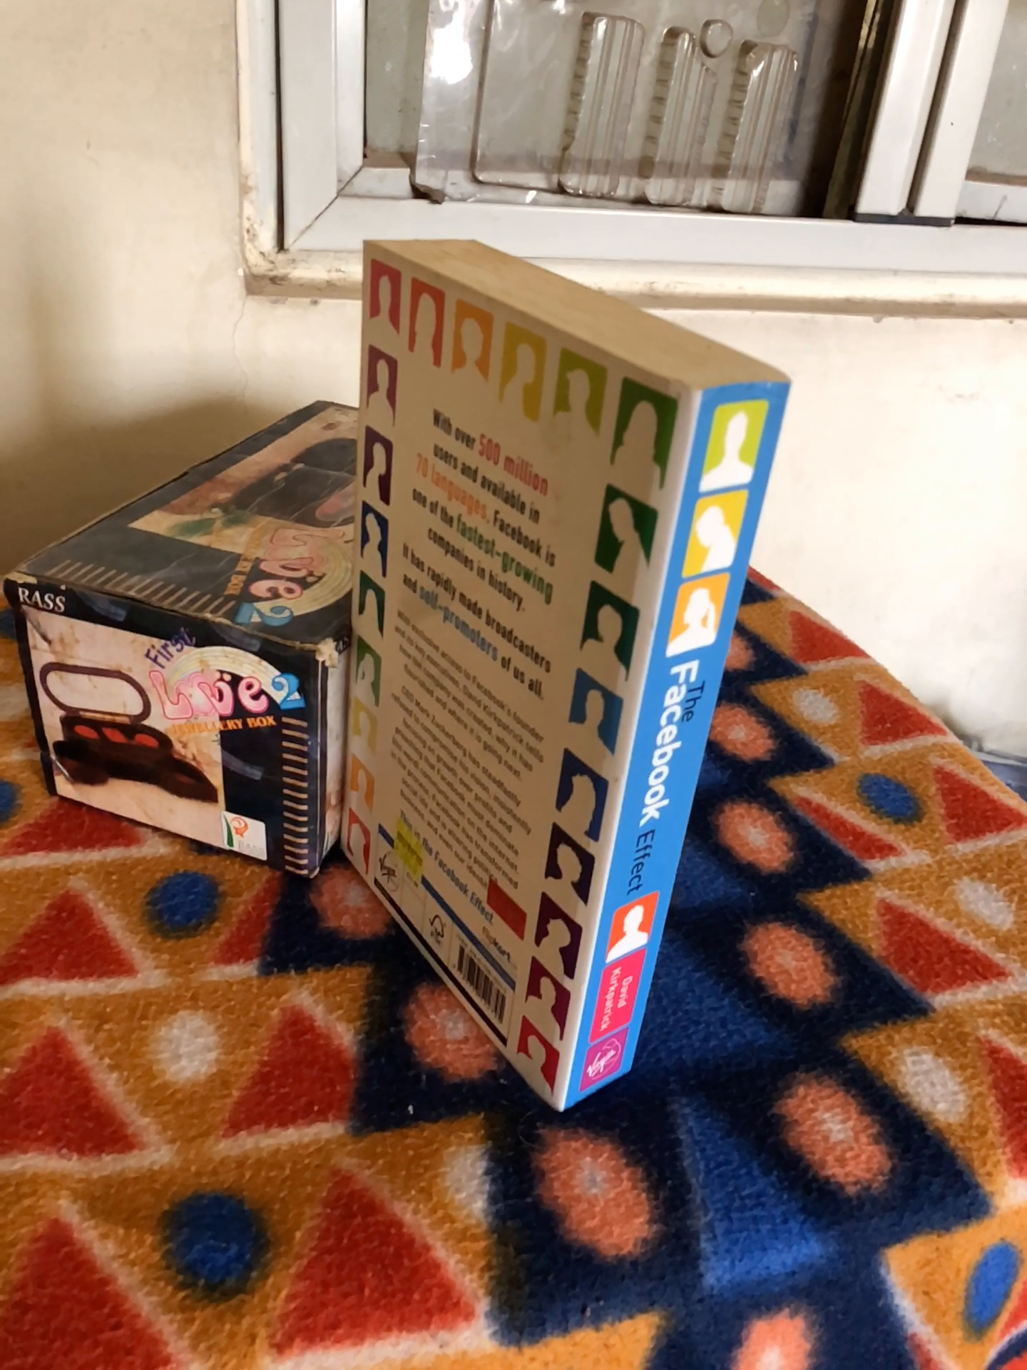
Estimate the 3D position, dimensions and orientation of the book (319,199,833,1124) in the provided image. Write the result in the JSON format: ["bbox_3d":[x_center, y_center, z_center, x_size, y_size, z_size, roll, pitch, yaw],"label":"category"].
[{"bbox_3d":[-0.002,-0.008,0.328,0.040,0.219,0.150,-17,38,-31],"label":"book"}]
